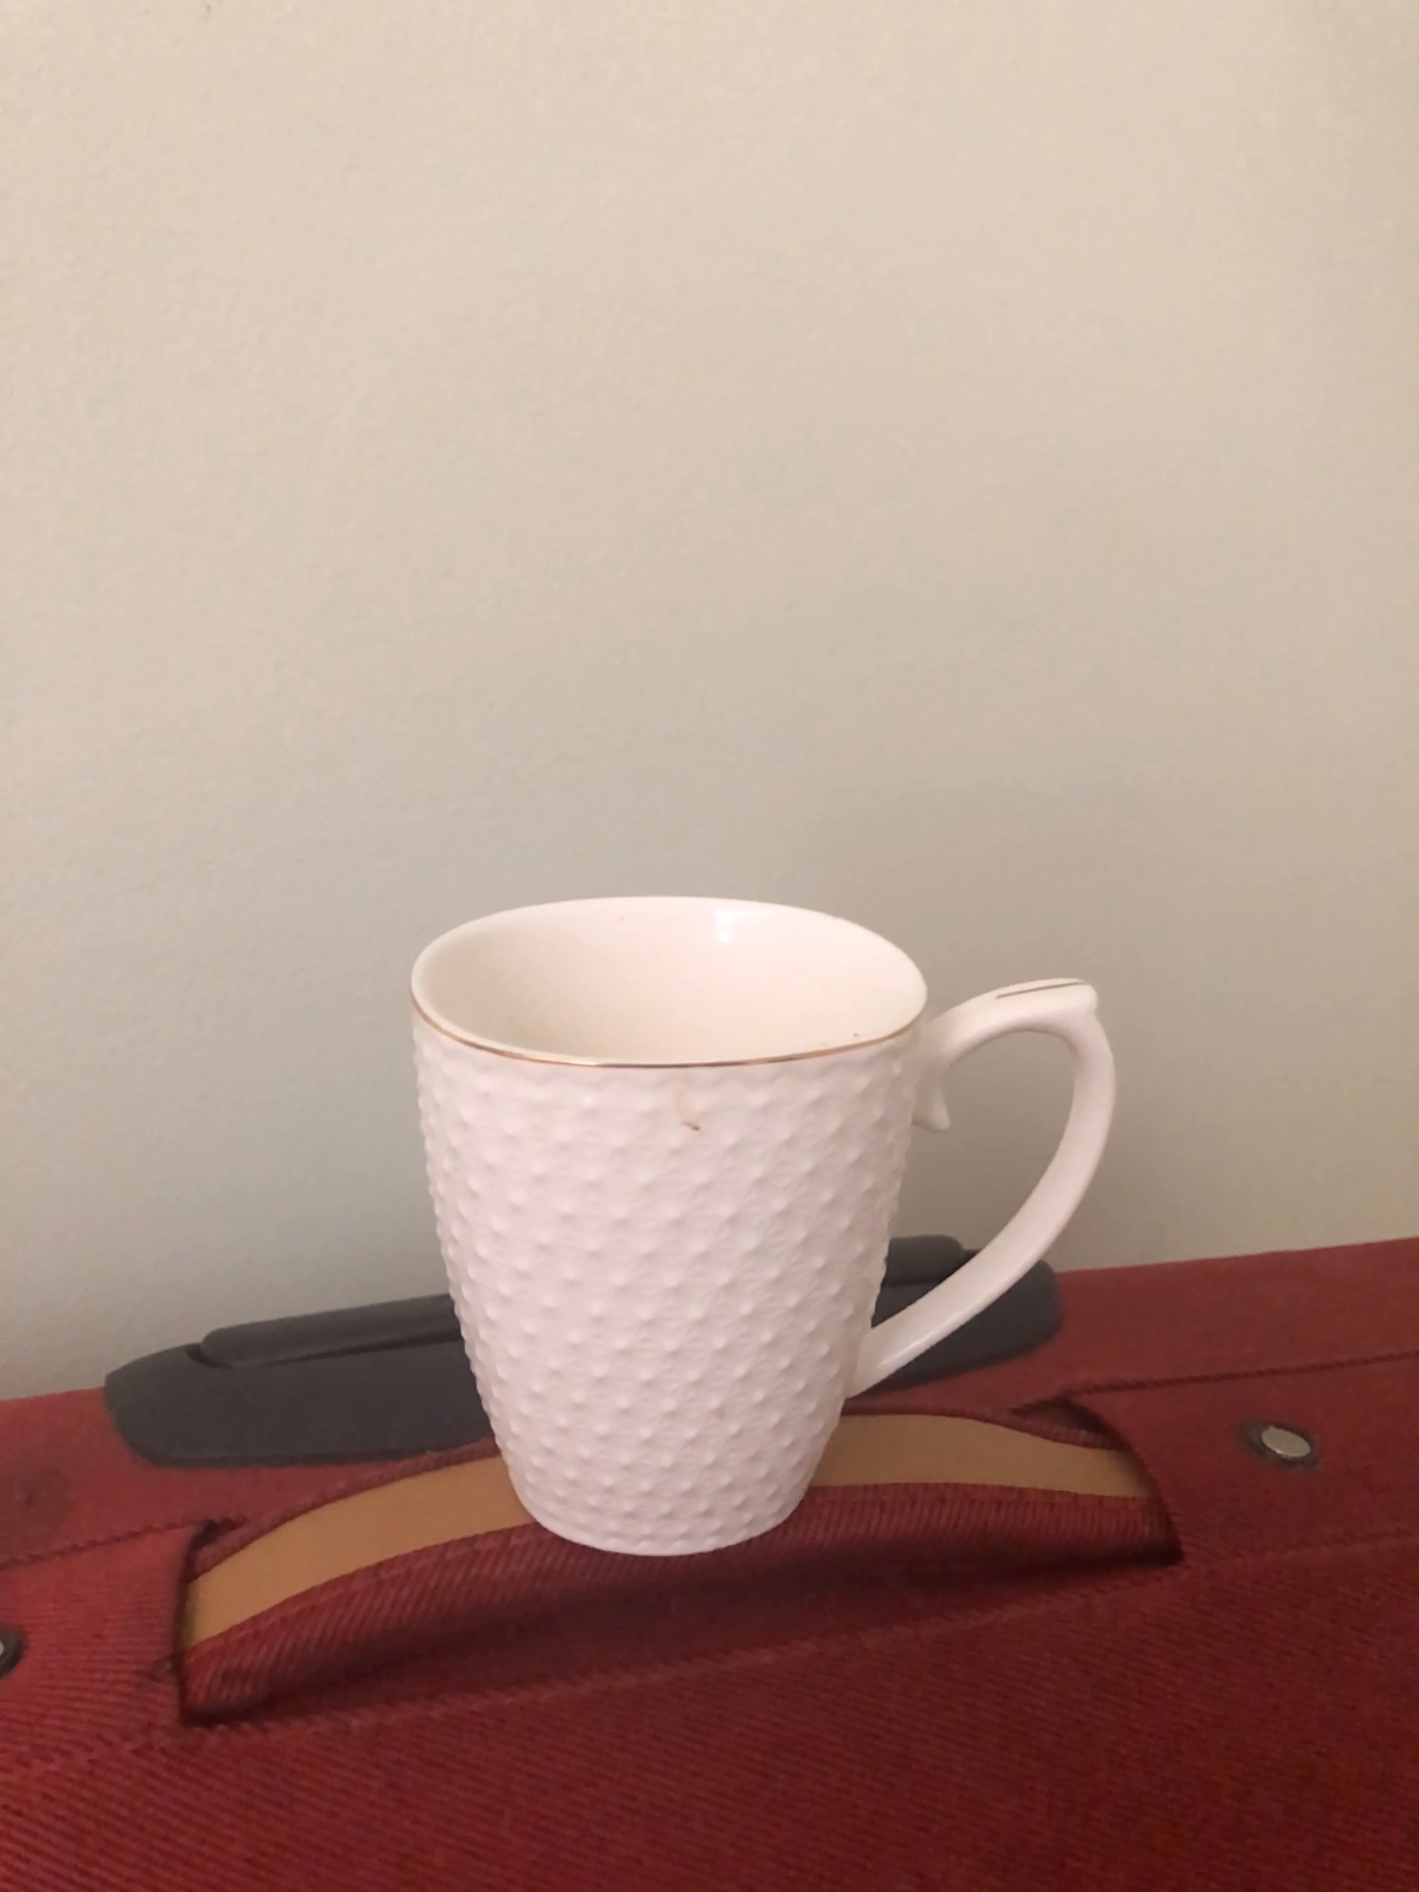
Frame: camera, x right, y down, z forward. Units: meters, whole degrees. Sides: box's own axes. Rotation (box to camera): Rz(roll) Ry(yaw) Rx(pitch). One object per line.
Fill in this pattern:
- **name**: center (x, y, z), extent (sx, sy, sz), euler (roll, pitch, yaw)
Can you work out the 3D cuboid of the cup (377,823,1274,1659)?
- **cup**: center (0.013, 0.036, 0.248), extent (0.112, 0.084, 0.075), euler (-7, 22, -20)
